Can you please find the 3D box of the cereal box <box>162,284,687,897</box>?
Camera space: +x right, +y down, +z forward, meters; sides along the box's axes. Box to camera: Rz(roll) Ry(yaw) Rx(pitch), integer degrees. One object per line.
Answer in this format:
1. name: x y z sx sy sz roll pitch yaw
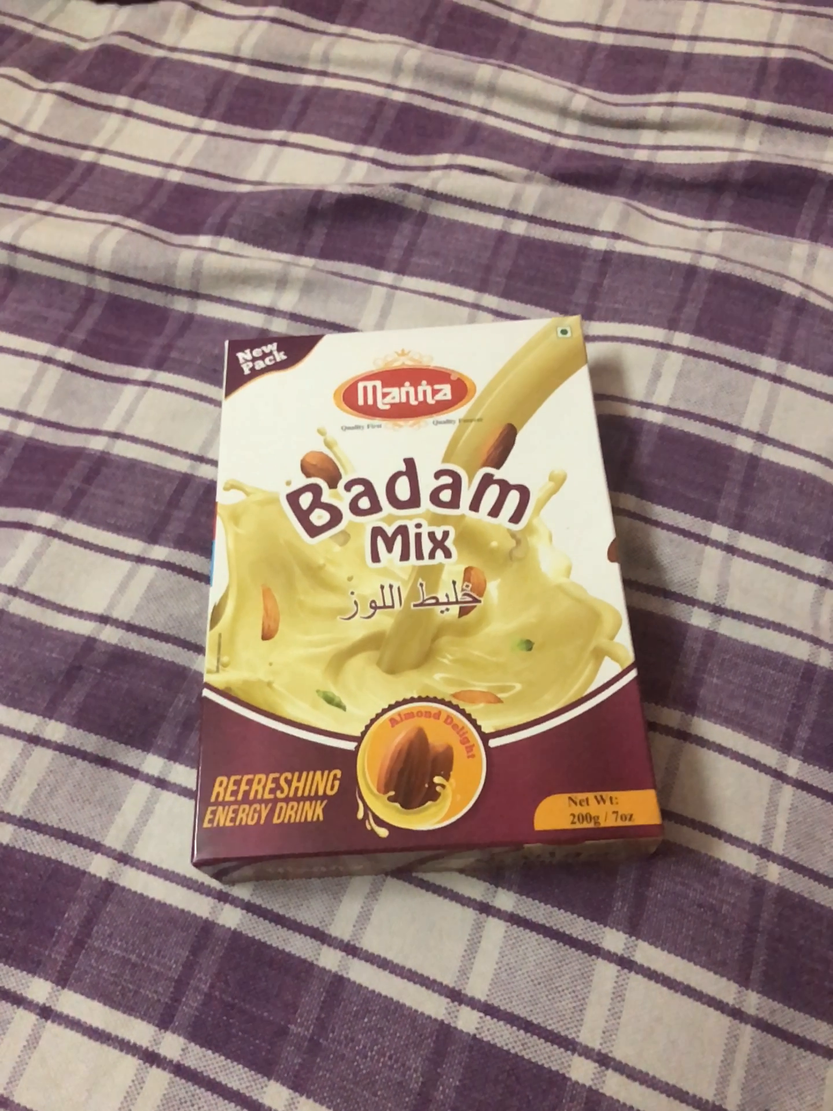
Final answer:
1. cereal box: -0.003 0.004 0.293 0.130 0.050 0.181 -4 62 0
